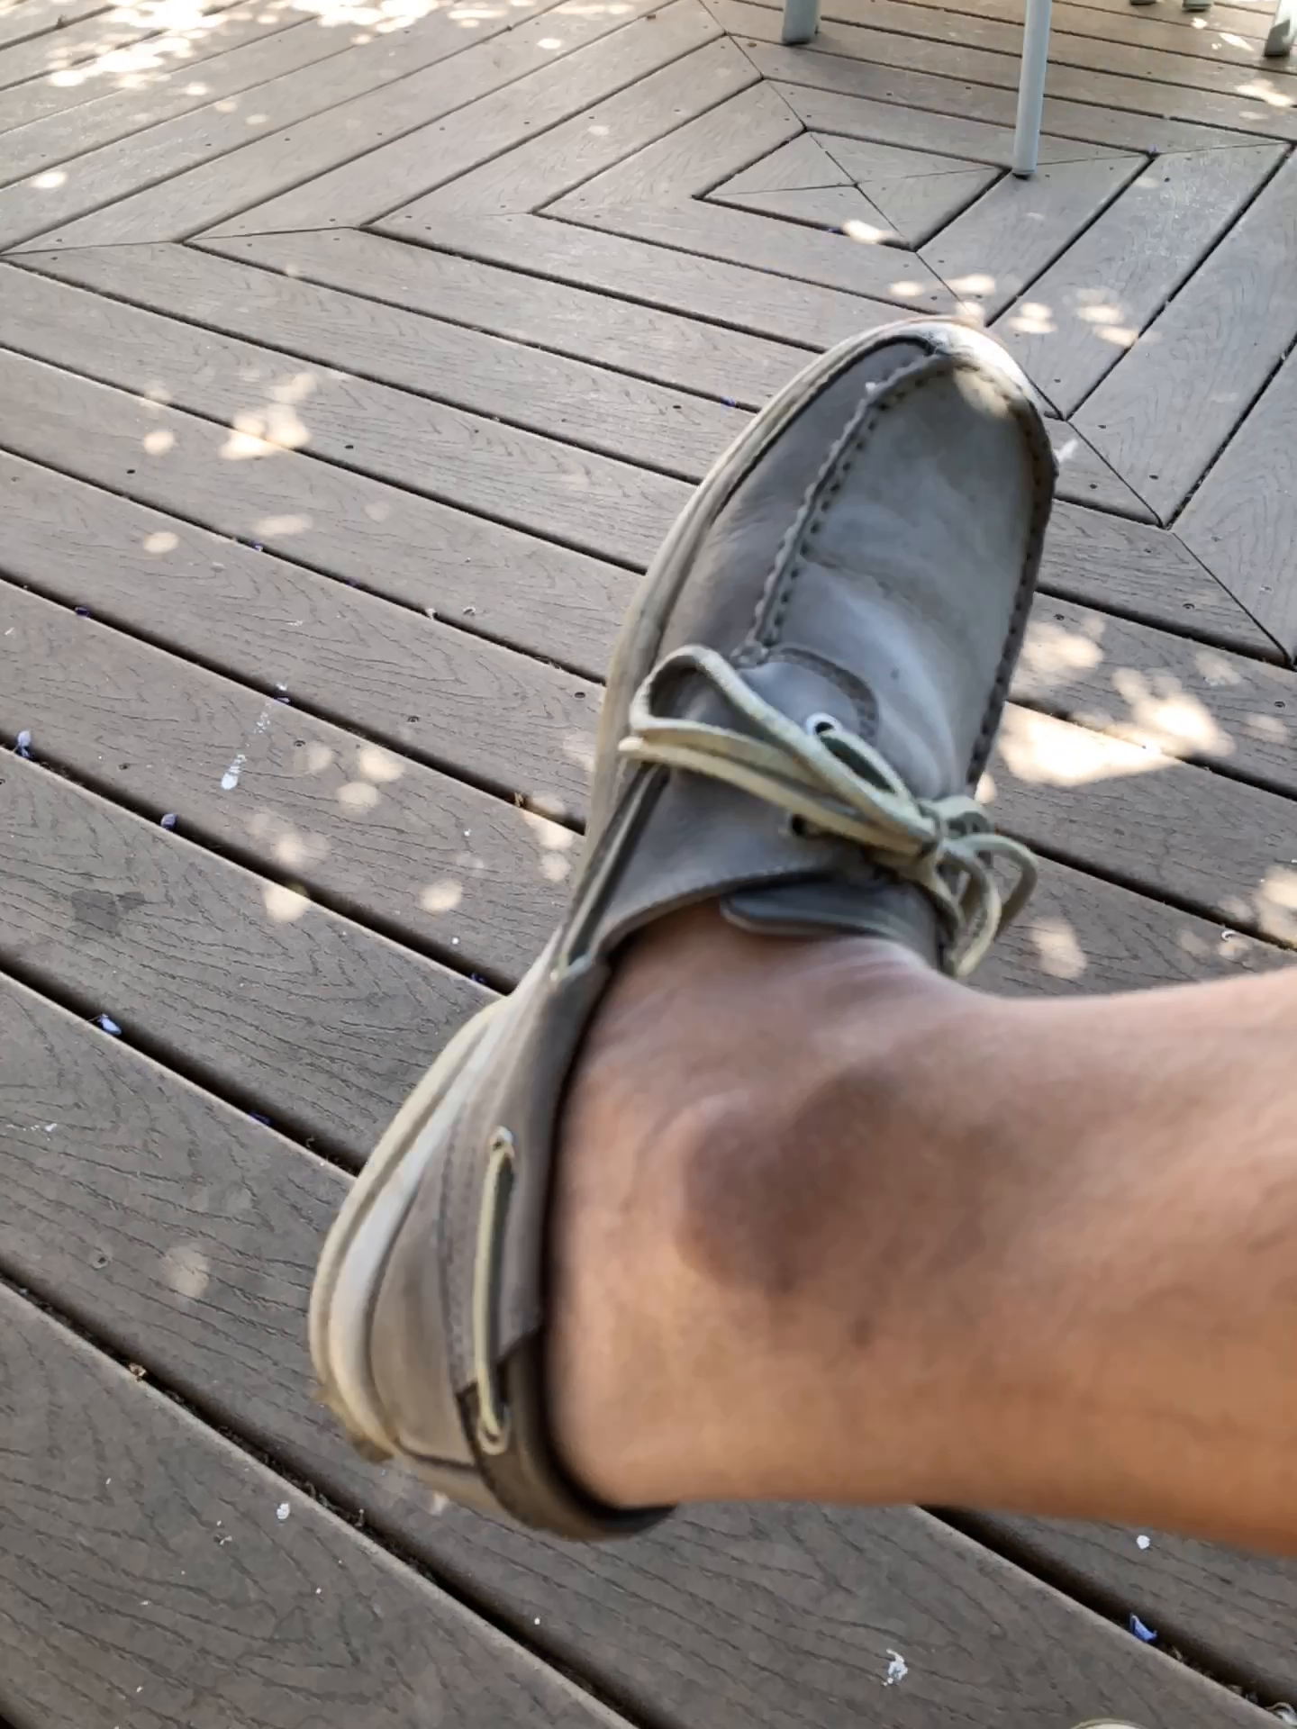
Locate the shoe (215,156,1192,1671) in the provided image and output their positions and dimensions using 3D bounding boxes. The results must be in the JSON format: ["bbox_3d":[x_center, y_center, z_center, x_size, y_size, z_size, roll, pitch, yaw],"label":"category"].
[{"bbox_3d":[0.032,0.001,0.353,0.083,0.116,0.327,-1,61,49],"label":"shoe"}]
